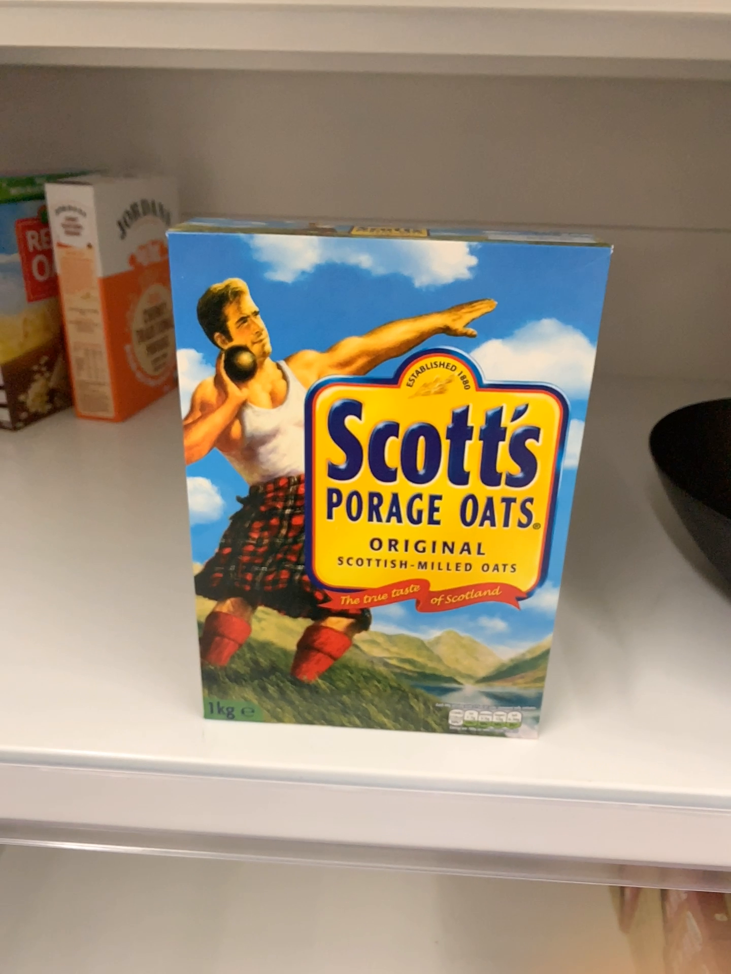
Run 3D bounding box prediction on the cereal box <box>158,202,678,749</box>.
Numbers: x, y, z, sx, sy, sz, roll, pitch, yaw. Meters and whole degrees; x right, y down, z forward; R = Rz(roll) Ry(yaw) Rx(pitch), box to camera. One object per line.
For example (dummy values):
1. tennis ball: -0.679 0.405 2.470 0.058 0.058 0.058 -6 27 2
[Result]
1. cereal box: 0.019 0.001 0.395 0.210 0.268 0.071 3 25 3
